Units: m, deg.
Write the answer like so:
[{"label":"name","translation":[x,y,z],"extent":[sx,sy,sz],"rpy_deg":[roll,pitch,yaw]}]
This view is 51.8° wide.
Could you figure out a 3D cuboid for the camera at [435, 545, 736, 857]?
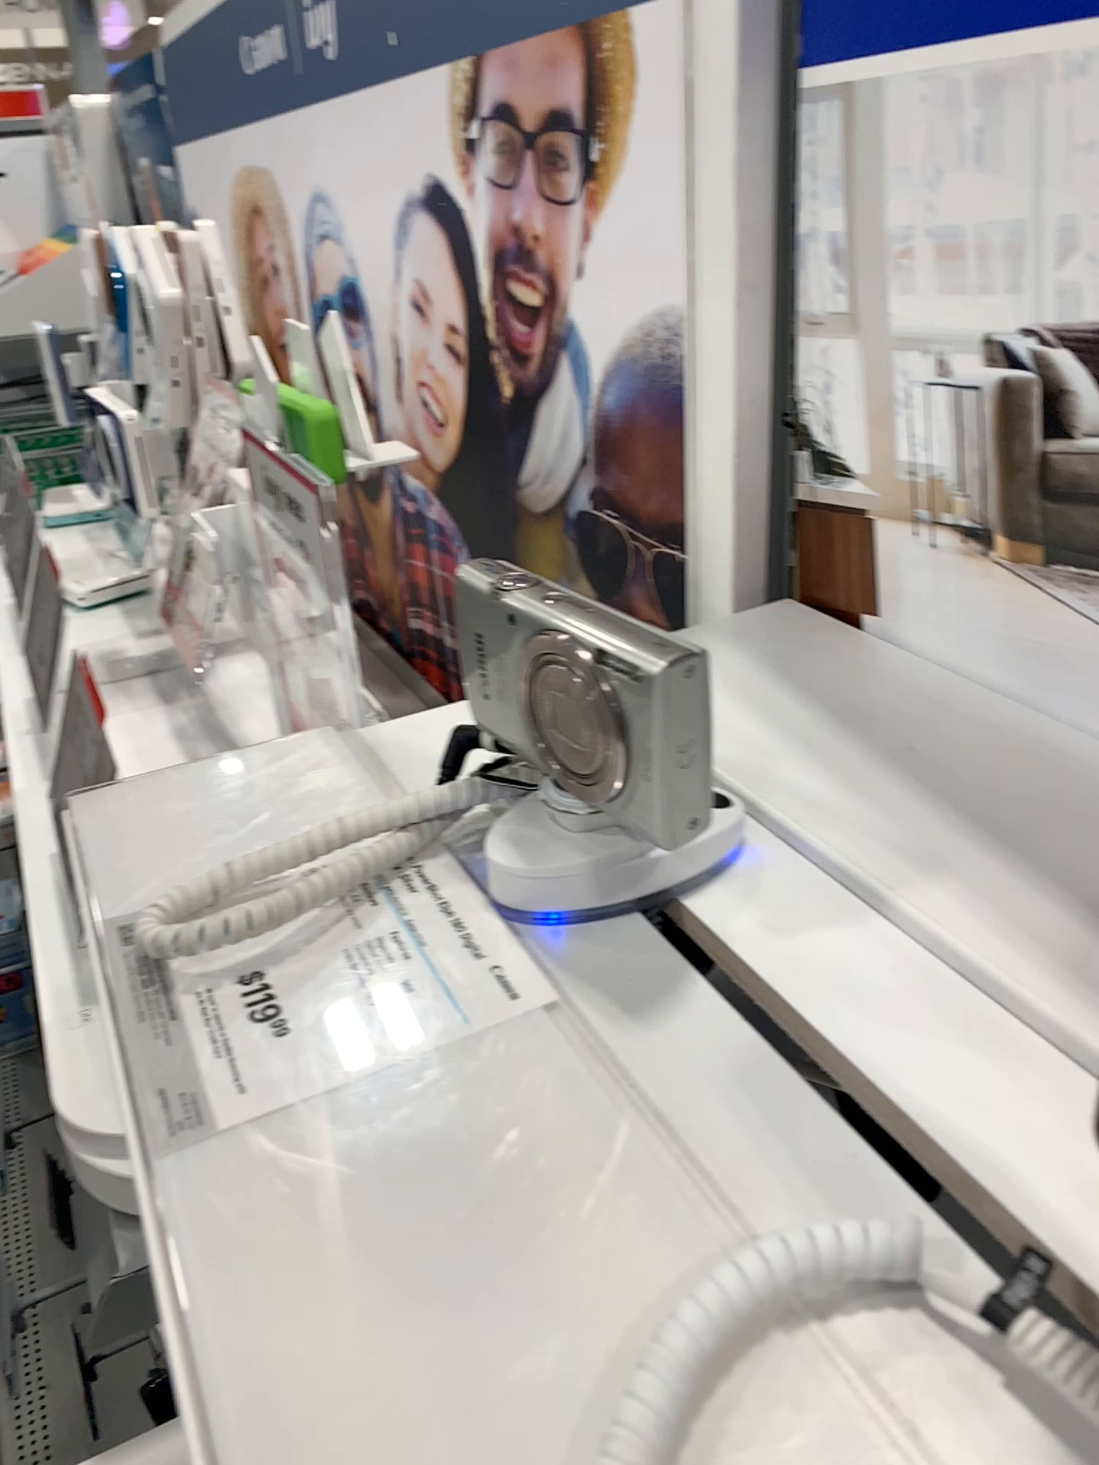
[{"label":"camera","translation":[0.007,-0.013,0.307],"extent":[0.022,0.051,0.099],"rpy_deg":[-26,33,-25]}]
